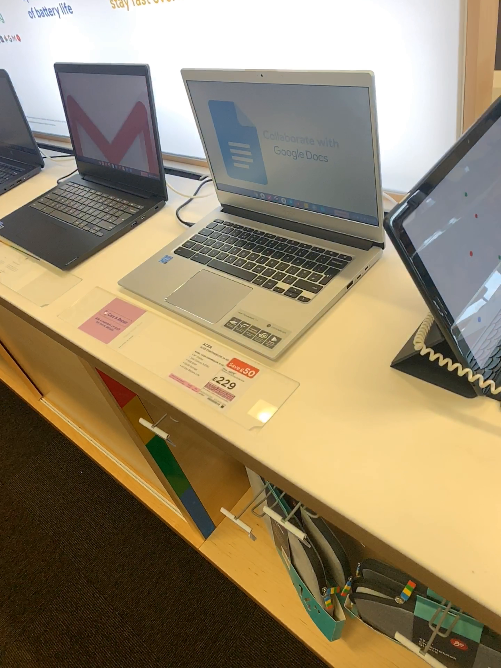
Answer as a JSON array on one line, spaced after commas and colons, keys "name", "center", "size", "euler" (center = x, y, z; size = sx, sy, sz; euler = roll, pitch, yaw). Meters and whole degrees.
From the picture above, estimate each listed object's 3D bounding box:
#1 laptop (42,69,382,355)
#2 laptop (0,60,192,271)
[{"name": "laptop", "center": [-0.038, -0.175, 0.640], "size": [0.304, 0.206, 0.237], "euler": [23, 55, 37]}, {"name": "laptop", "center": [-0.339, -0.316, 0.909], "size": [0.309, 0.204, 0.283], "euler": [26, 59, 39]}]
